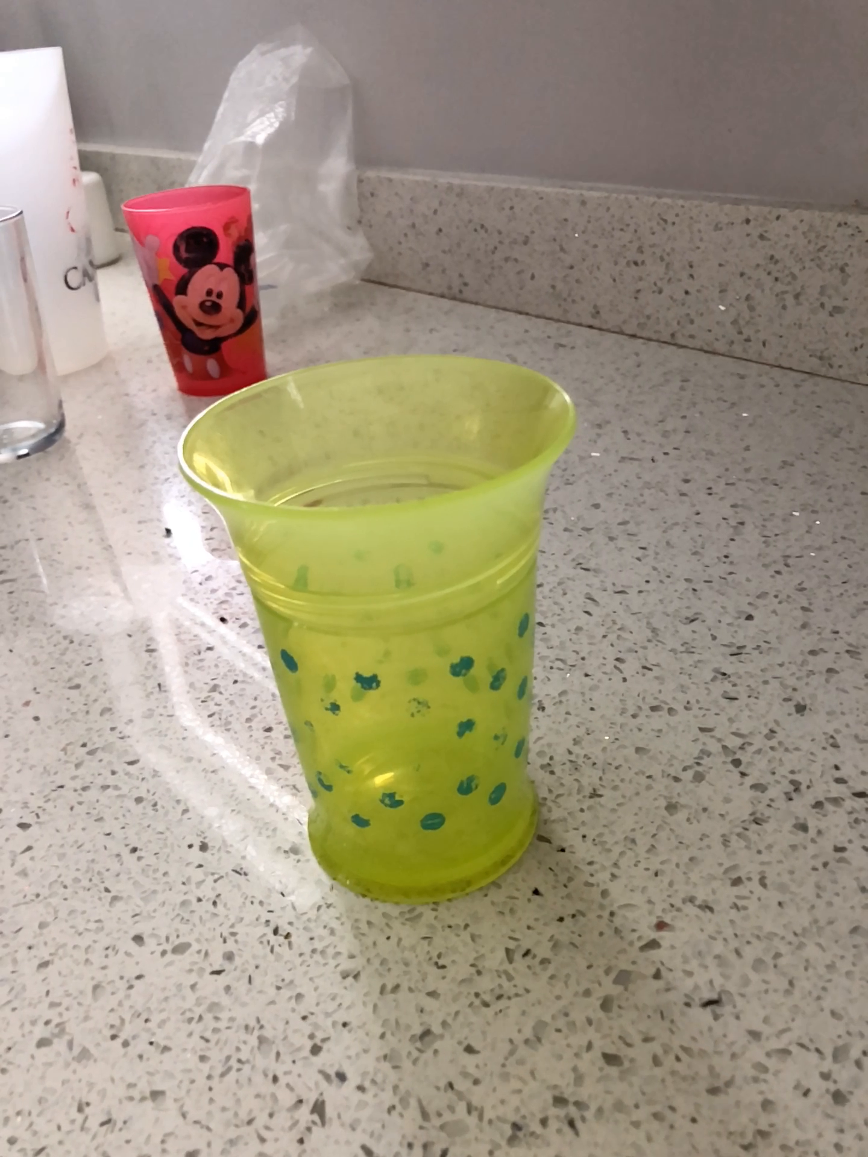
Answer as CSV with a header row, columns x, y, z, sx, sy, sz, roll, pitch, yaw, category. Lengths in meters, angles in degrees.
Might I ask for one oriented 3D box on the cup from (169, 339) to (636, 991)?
x,y,z,sx,sy,sz,roll,pitch,yaw,category
-0.007,0.015,0.221,0.073,0.109,0.078,-4,31,3,cup
